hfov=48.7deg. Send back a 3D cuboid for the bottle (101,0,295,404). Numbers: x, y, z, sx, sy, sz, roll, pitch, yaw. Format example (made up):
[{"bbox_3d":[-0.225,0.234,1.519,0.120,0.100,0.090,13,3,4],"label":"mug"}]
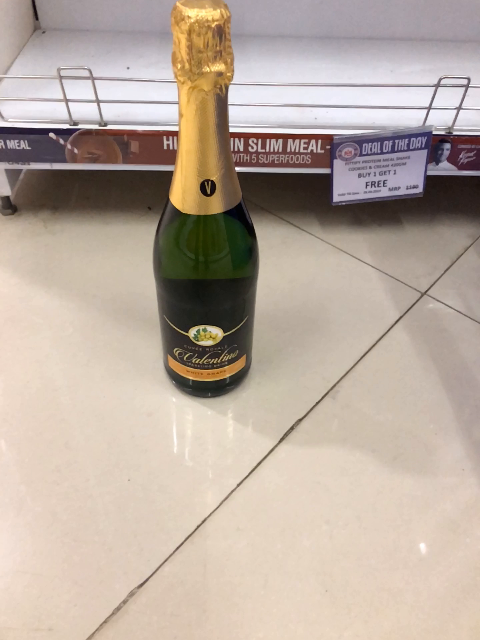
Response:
[{"bbox_3d":[-0.029,-0.065,0.386,0.090,0.298,0.091,2,46,-2],"label":"bottle"}]
